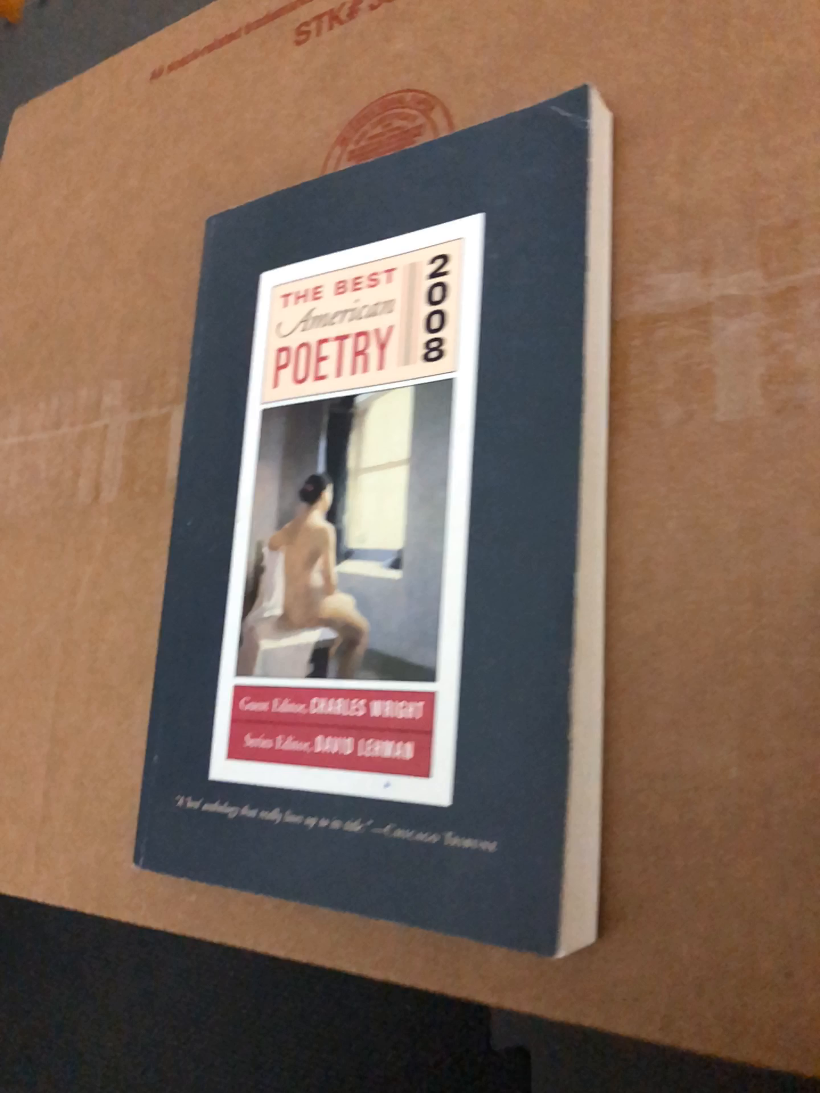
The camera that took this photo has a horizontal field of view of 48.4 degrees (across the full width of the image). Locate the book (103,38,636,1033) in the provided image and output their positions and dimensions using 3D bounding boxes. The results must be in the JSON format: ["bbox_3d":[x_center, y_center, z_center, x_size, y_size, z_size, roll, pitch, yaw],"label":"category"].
[{"bbox_3d":[-0.014,-0.008,0.254,0.151,0.020,0.230,-5,75,33],"label":"book"}]
